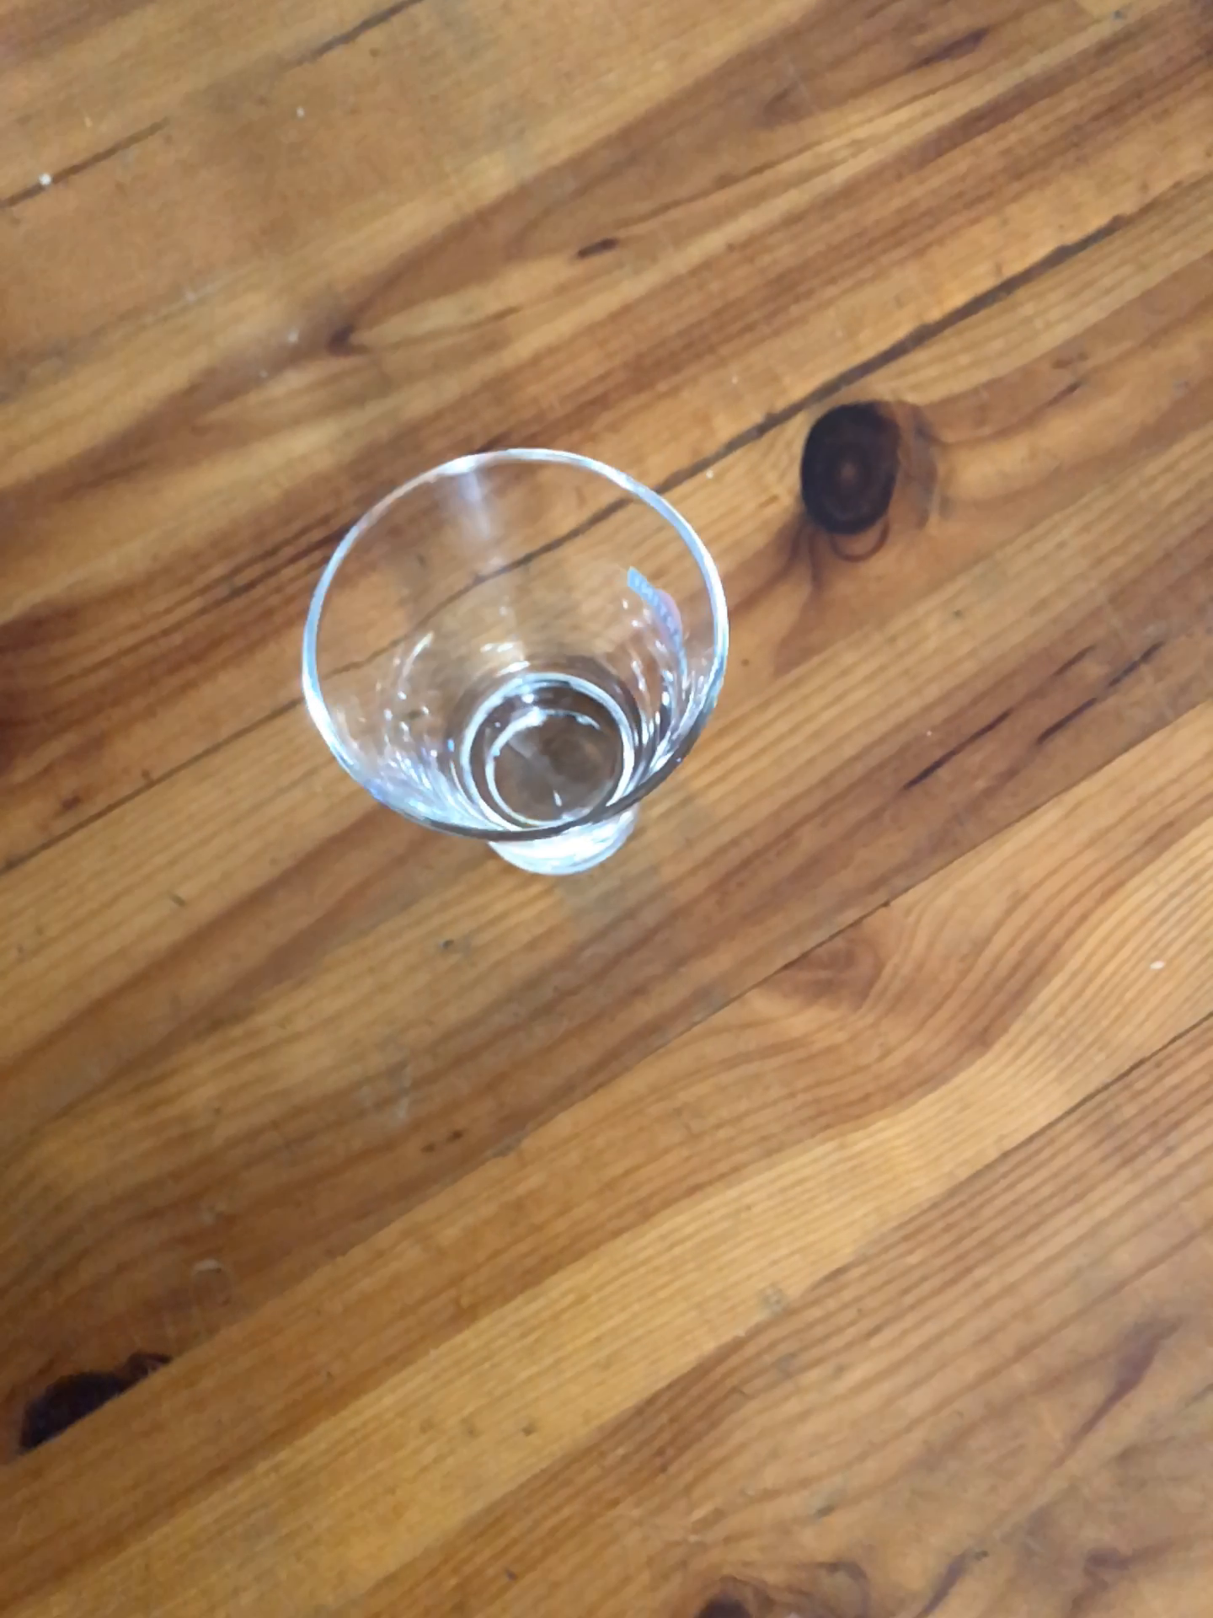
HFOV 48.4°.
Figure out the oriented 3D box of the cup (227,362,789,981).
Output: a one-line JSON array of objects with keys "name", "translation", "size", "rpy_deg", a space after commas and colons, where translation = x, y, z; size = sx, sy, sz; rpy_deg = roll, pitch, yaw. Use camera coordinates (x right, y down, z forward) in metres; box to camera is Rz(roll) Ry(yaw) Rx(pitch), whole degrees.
[{"name": "cup", "translation": [-0.021, -0.027, 0.324], "size": [0.088, 0.097, 0.091], "rpy_deg": [0, 72, 1]}]
